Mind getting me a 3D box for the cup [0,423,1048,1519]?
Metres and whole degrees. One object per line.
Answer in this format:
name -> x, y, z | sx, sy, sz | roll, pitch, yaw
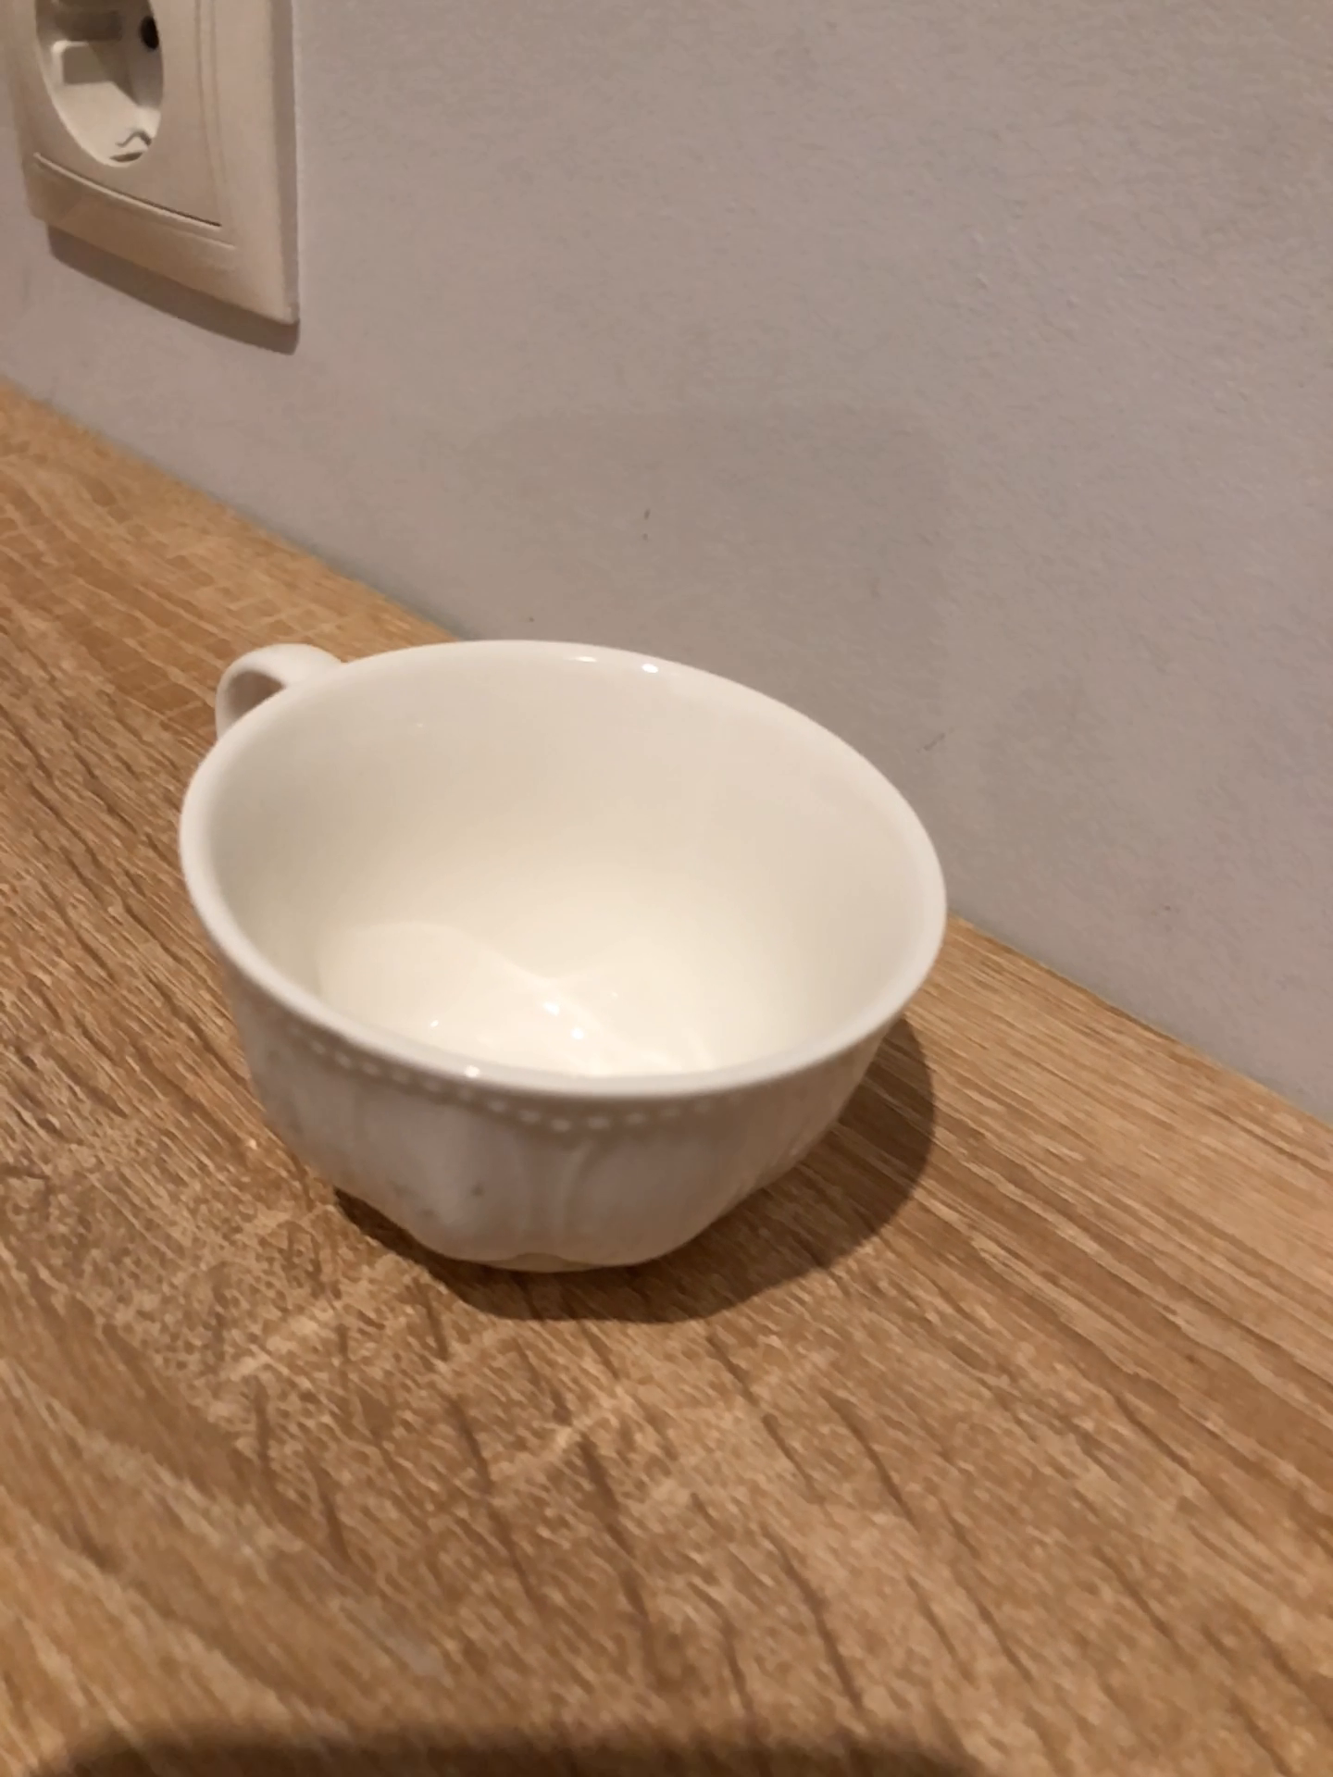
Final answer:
cup -> -0.026, -0.002, 0.151 | 0.100, 0.050, 0.060 | 28, 40, 25
